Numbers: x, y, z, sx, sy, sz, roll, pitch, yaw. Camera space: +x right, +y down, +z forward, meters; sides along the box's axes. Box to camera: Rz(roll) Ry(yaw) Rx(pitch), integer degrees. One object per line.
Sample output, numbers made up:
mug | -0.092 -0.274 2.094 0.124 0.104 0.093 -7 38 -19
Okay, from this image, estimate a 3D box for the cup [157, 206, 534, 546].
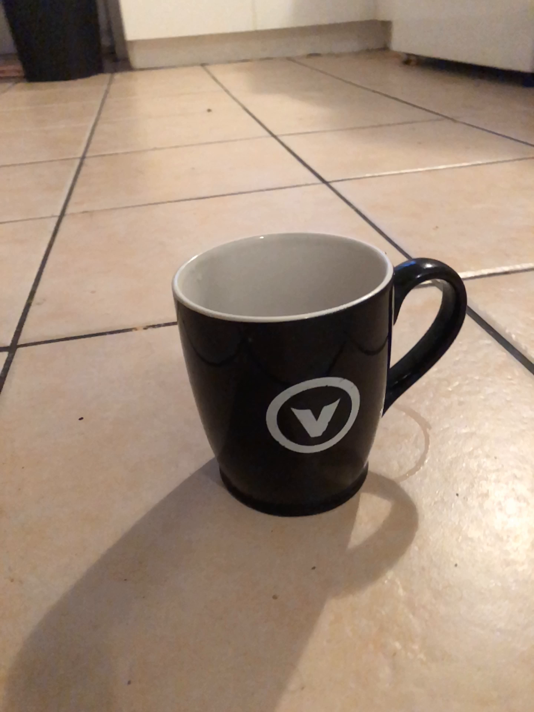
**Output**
cup | 0.030 0.001 0.284 0.140 0.100 0.101 -11 31 -12
